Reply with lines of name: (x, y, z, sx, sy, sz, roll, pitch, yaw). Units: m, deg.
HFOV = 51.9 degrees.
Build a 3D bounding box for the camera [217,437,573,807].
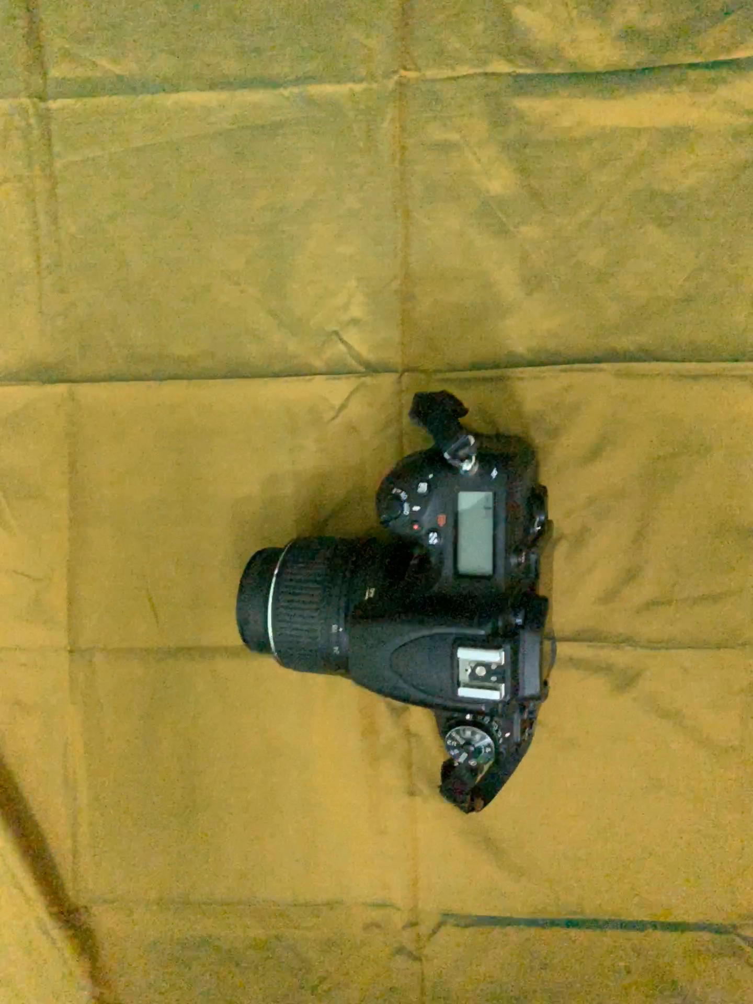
camera: (0.017, 0.039, 0.362, 0.131, 0.120, 0.135, 2, 97, 20)
